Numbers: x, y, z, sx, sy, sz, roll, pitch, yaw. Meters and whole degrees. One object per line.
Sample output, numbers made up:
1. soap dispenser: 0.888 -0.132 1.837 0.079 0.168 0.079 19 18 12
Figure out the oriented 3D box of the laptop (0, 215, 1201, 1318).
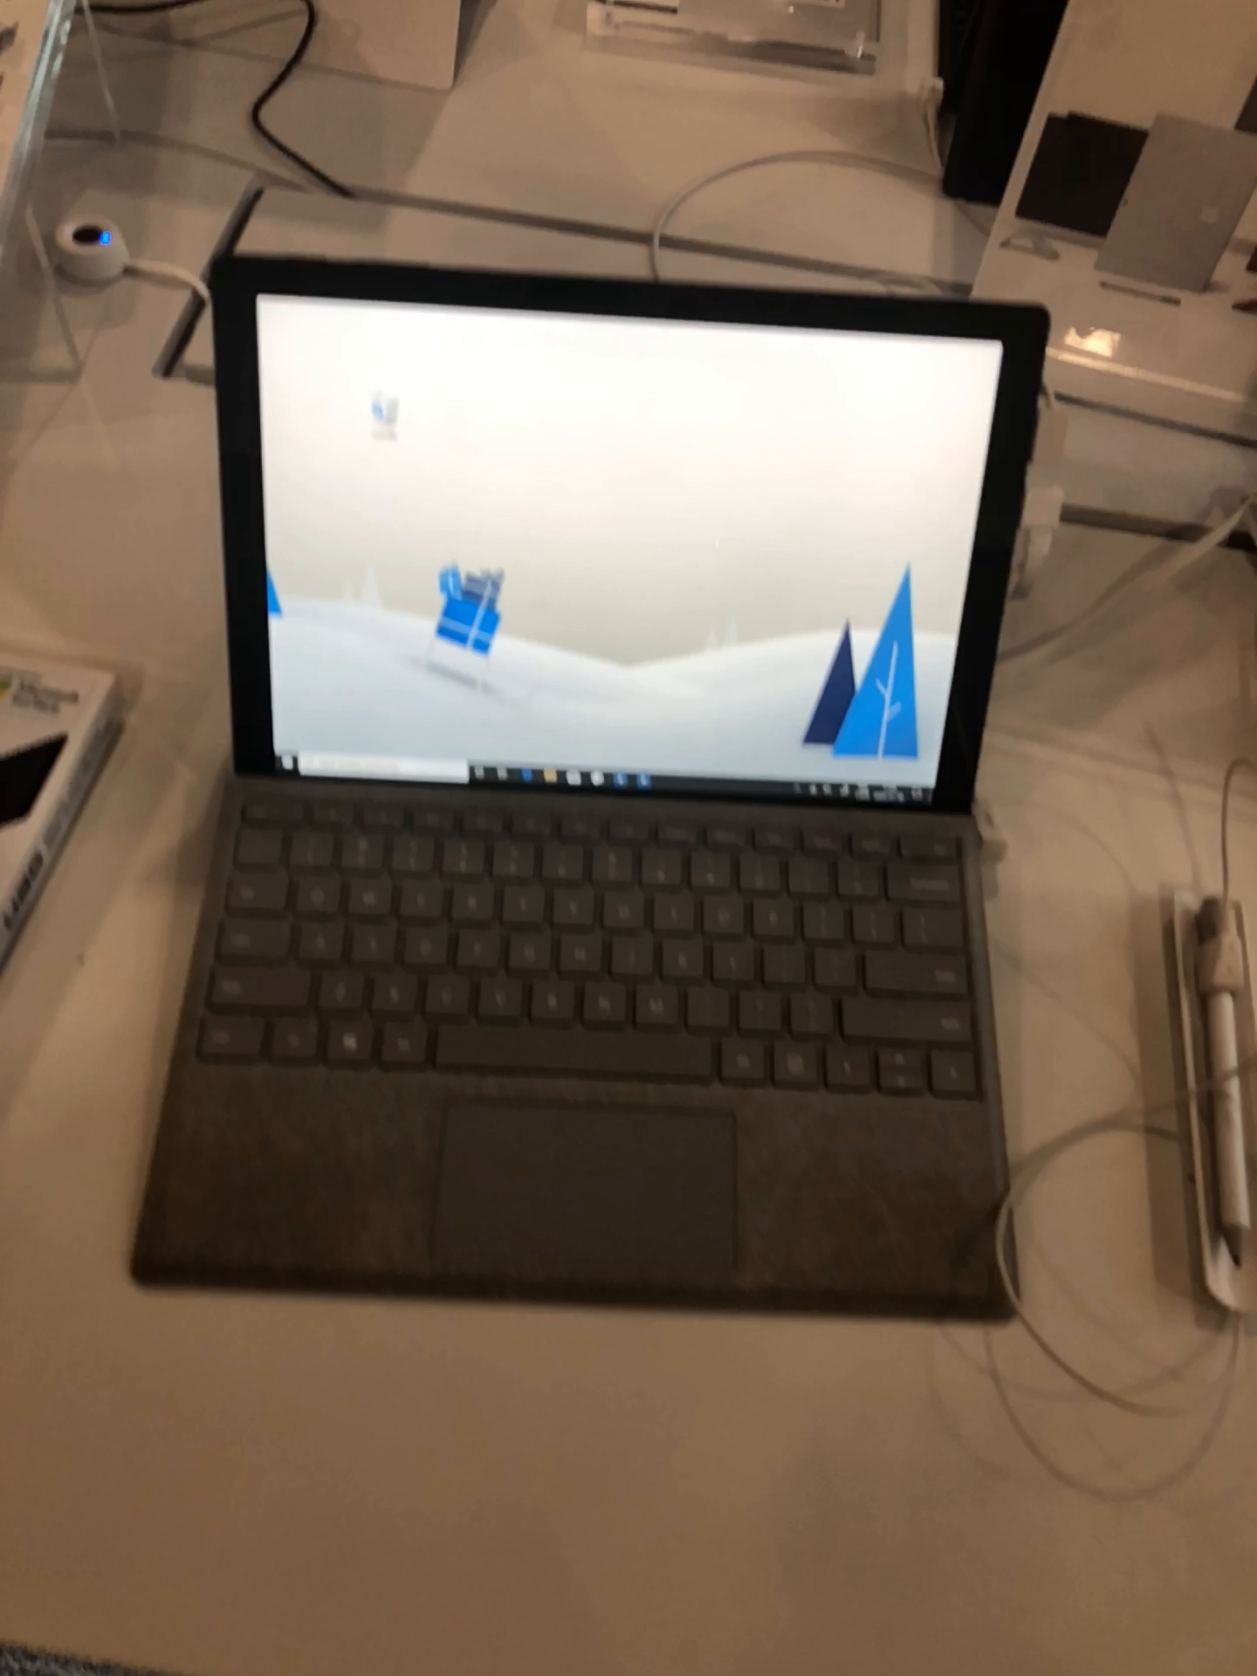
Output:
1. laptop: -0.006 -0.025 0.461 0.285 0.150 0.308 3 61 -3
